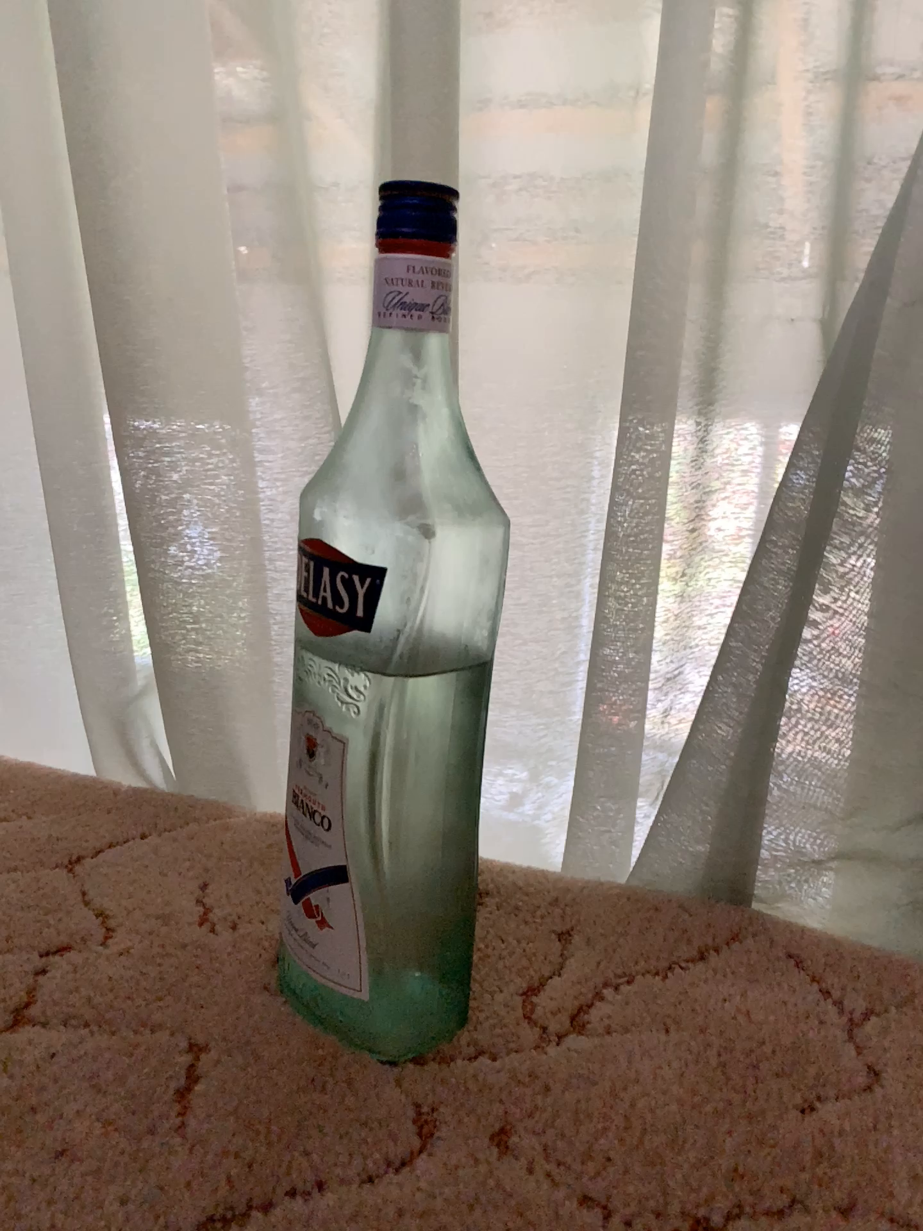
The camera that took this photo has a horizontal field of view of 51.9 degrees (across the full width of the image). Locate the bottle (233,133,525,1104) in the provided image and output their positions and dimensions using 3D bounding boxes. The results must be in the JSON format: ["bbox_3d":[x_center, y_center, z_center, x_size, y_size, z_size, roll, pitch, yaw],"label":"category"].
[{"bbox_3d":[-0.041,0.004,0.375,0.060,0.329,0.110,-5,14,-33],"label":"bottle"}]
